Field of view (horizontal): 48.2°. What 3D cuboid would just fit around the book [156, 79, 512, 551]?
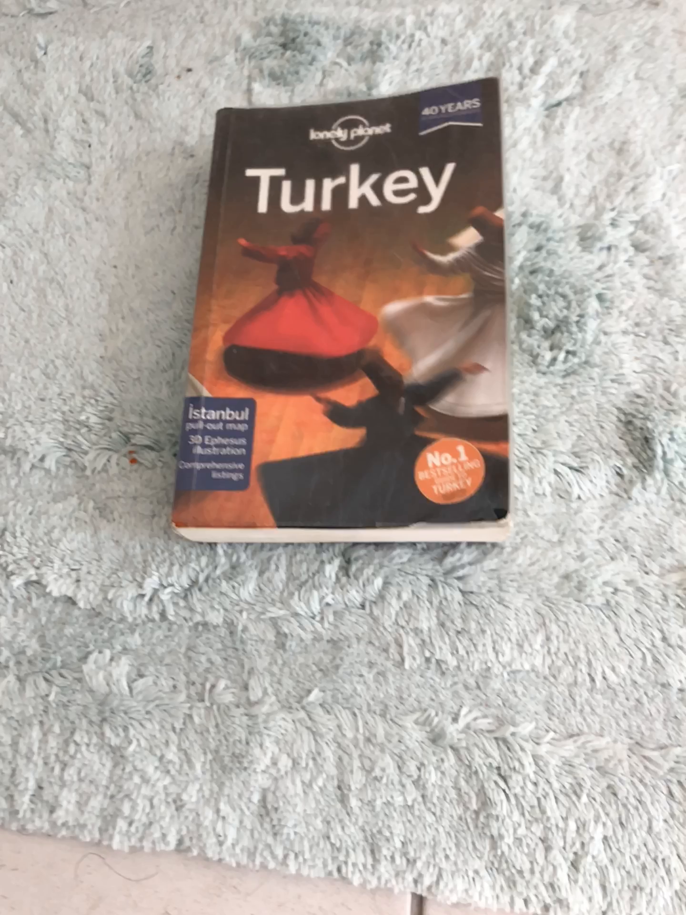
[{"bbox_3d":[0.002,-0.060,0.325,0.130,0.046,0.190,0,73,10],"label":"book"}]
